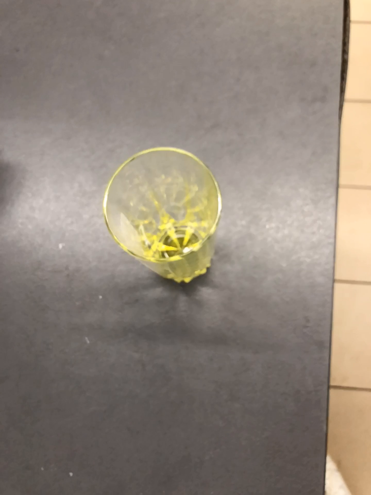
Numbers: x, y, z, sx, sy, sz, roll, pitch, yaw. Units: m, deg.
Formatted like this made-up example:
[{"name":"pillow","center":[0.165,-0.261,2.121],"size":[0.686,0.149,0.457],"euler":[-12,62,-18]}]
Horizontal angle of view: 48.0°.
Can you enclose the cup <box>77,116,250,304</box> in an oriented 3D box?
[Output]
[{"name":"cup","center":[-0.009,-0.015,0.304],"size":[0.070,0.134,0.075],"euler":[-1,78,4]}]
